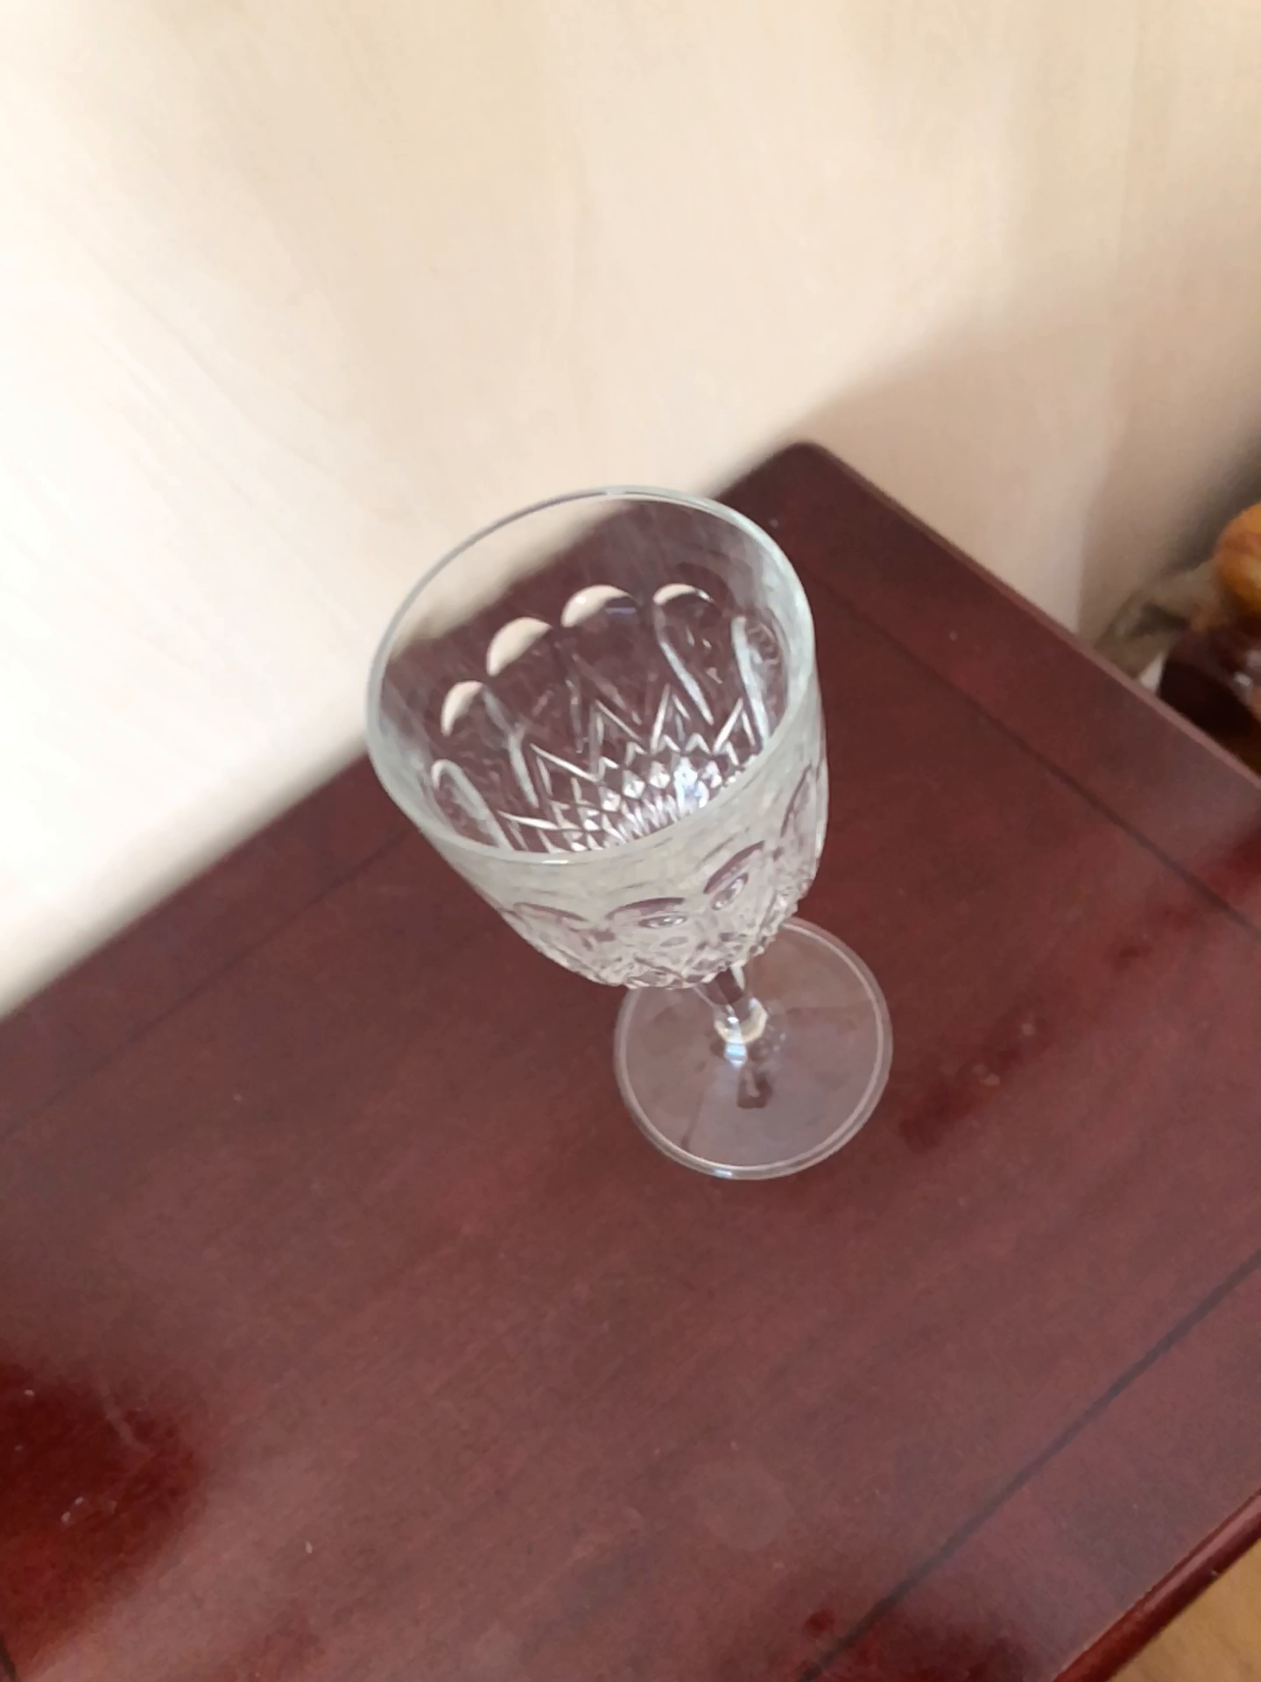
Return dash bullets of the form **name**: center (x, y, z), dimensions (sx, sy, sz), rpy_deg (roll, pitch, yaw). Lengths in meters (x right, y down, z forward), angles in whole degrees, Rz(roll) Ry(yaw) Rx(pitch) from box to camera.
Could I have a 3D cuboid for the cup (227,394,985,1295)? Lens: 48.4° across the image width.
- **cup**: center (0.010, 0.015, 0.314), dimensions (0.096, 0.179, 0.092), rpy_deg (-7, 60, 11)
